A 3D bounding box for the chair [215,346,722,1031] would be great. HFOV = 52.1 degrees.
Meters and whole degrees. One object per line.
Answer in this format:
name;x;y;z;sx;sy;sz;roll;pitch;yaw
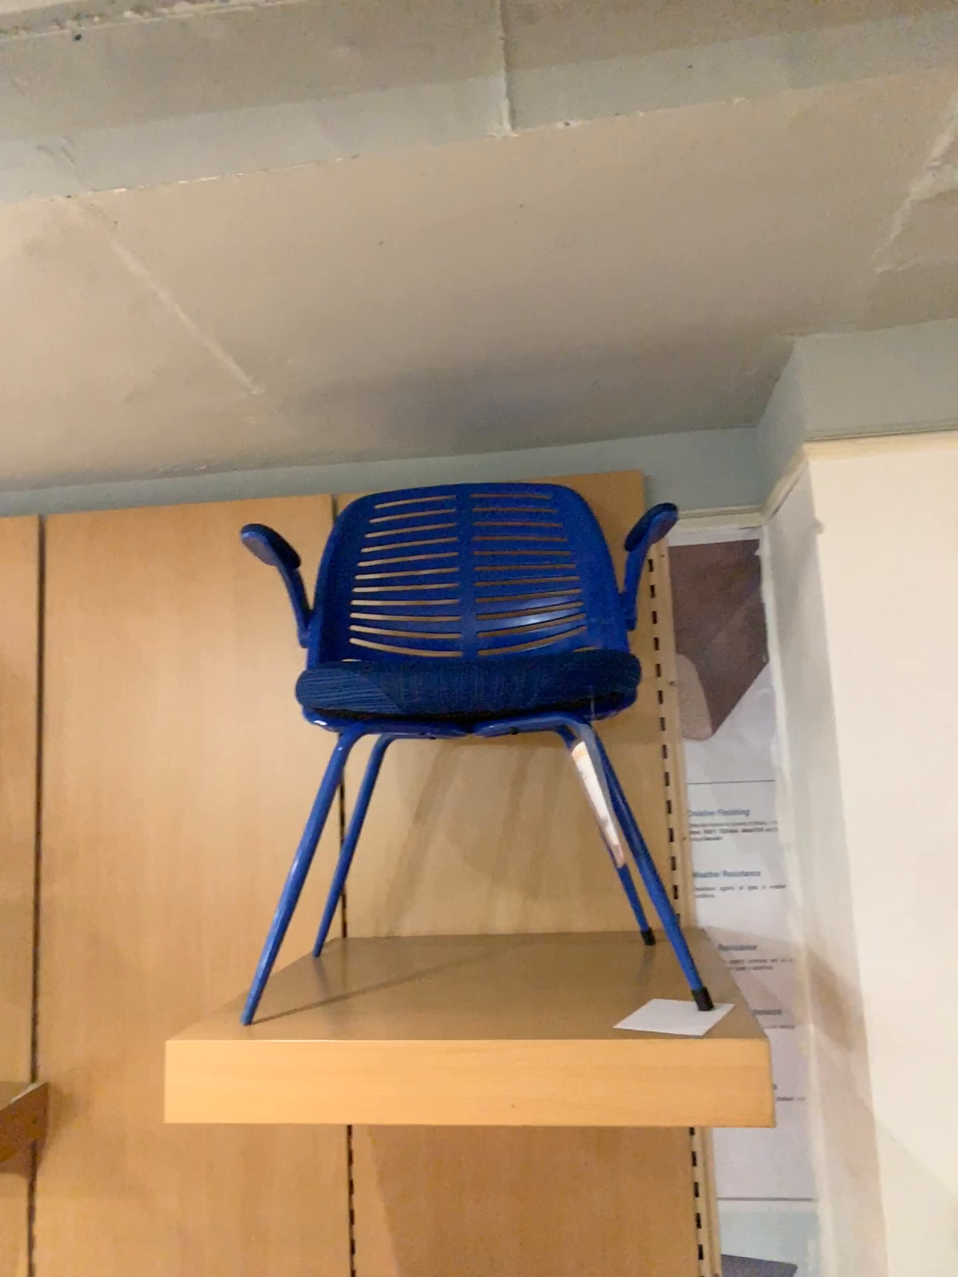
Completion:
chair;-0.017;0.079;1.439;0.570;0.791;0.549;-3;-8;2
